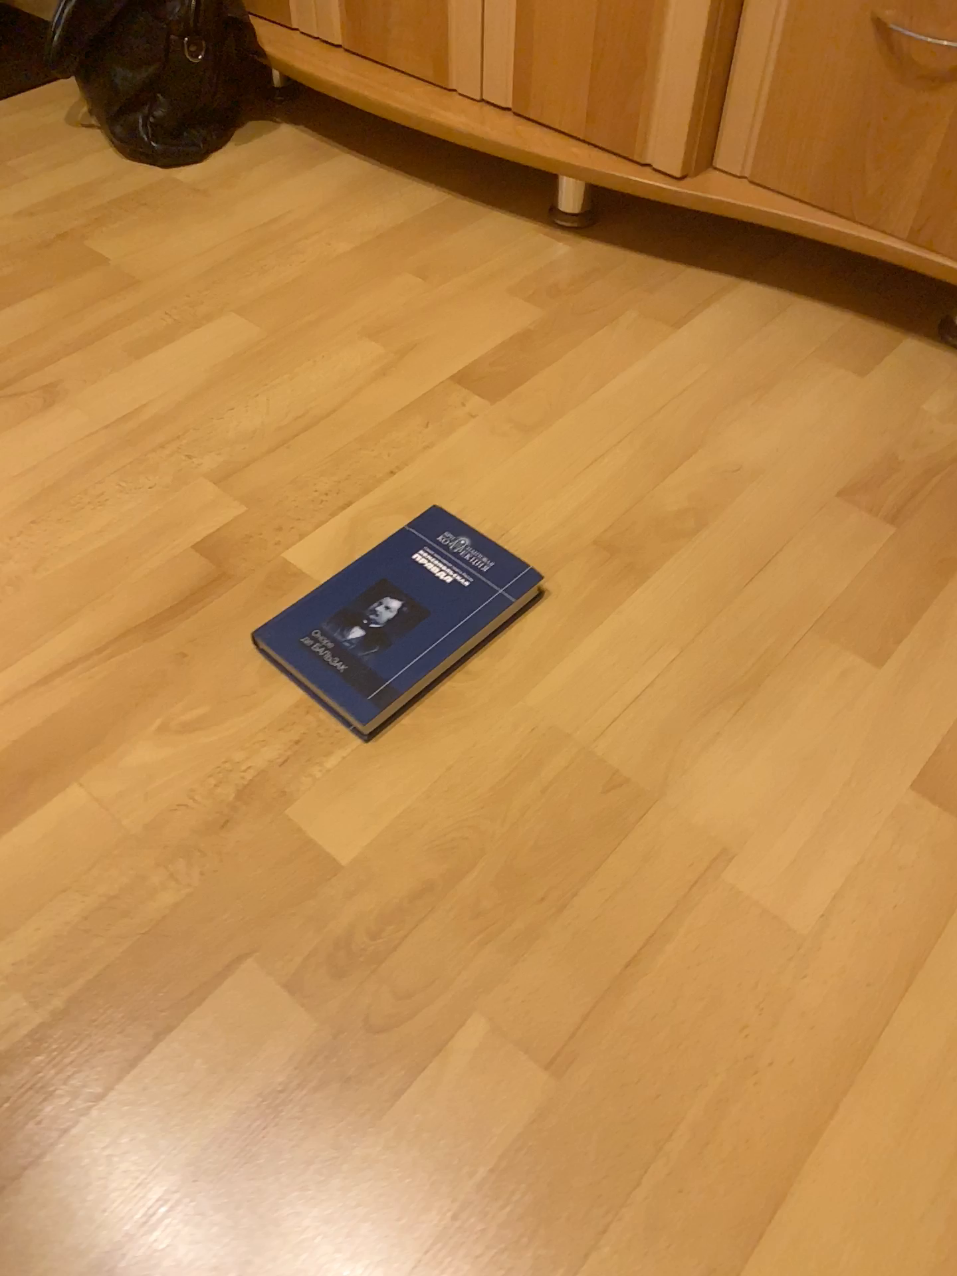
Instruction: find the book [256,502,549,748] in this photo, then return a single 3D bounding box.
[{"bbox_3d":[-0.057,-0.019,0.786,0.128,0.030,0.201,35,59,26],"label":"book"}]
